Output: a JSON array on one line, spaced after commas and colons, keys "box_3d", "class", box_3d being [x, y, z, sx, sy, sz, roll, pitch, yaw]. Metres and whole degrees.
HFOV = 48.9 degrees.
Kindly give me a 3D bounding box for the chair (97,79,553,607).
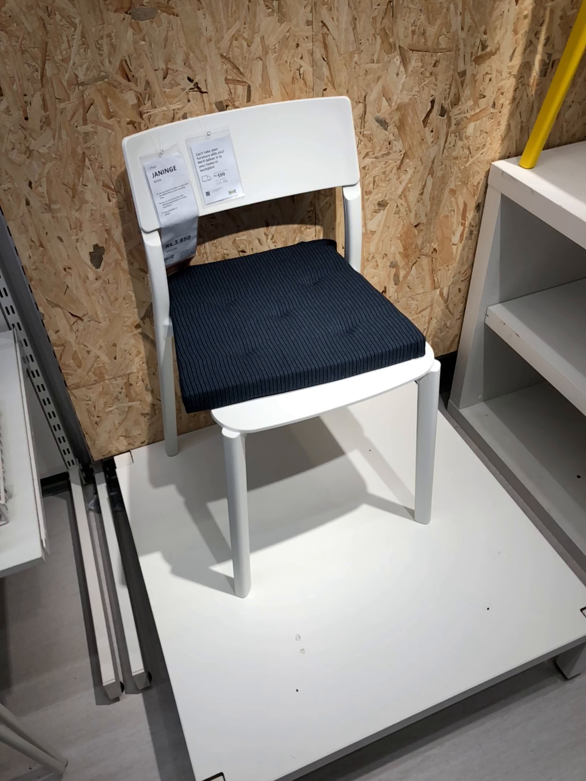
[{"box_3d": [0.022, -0.081, 1.133, 0.490, 0.685, 0.463, -17, 44, -16], "class": "chair"}]
